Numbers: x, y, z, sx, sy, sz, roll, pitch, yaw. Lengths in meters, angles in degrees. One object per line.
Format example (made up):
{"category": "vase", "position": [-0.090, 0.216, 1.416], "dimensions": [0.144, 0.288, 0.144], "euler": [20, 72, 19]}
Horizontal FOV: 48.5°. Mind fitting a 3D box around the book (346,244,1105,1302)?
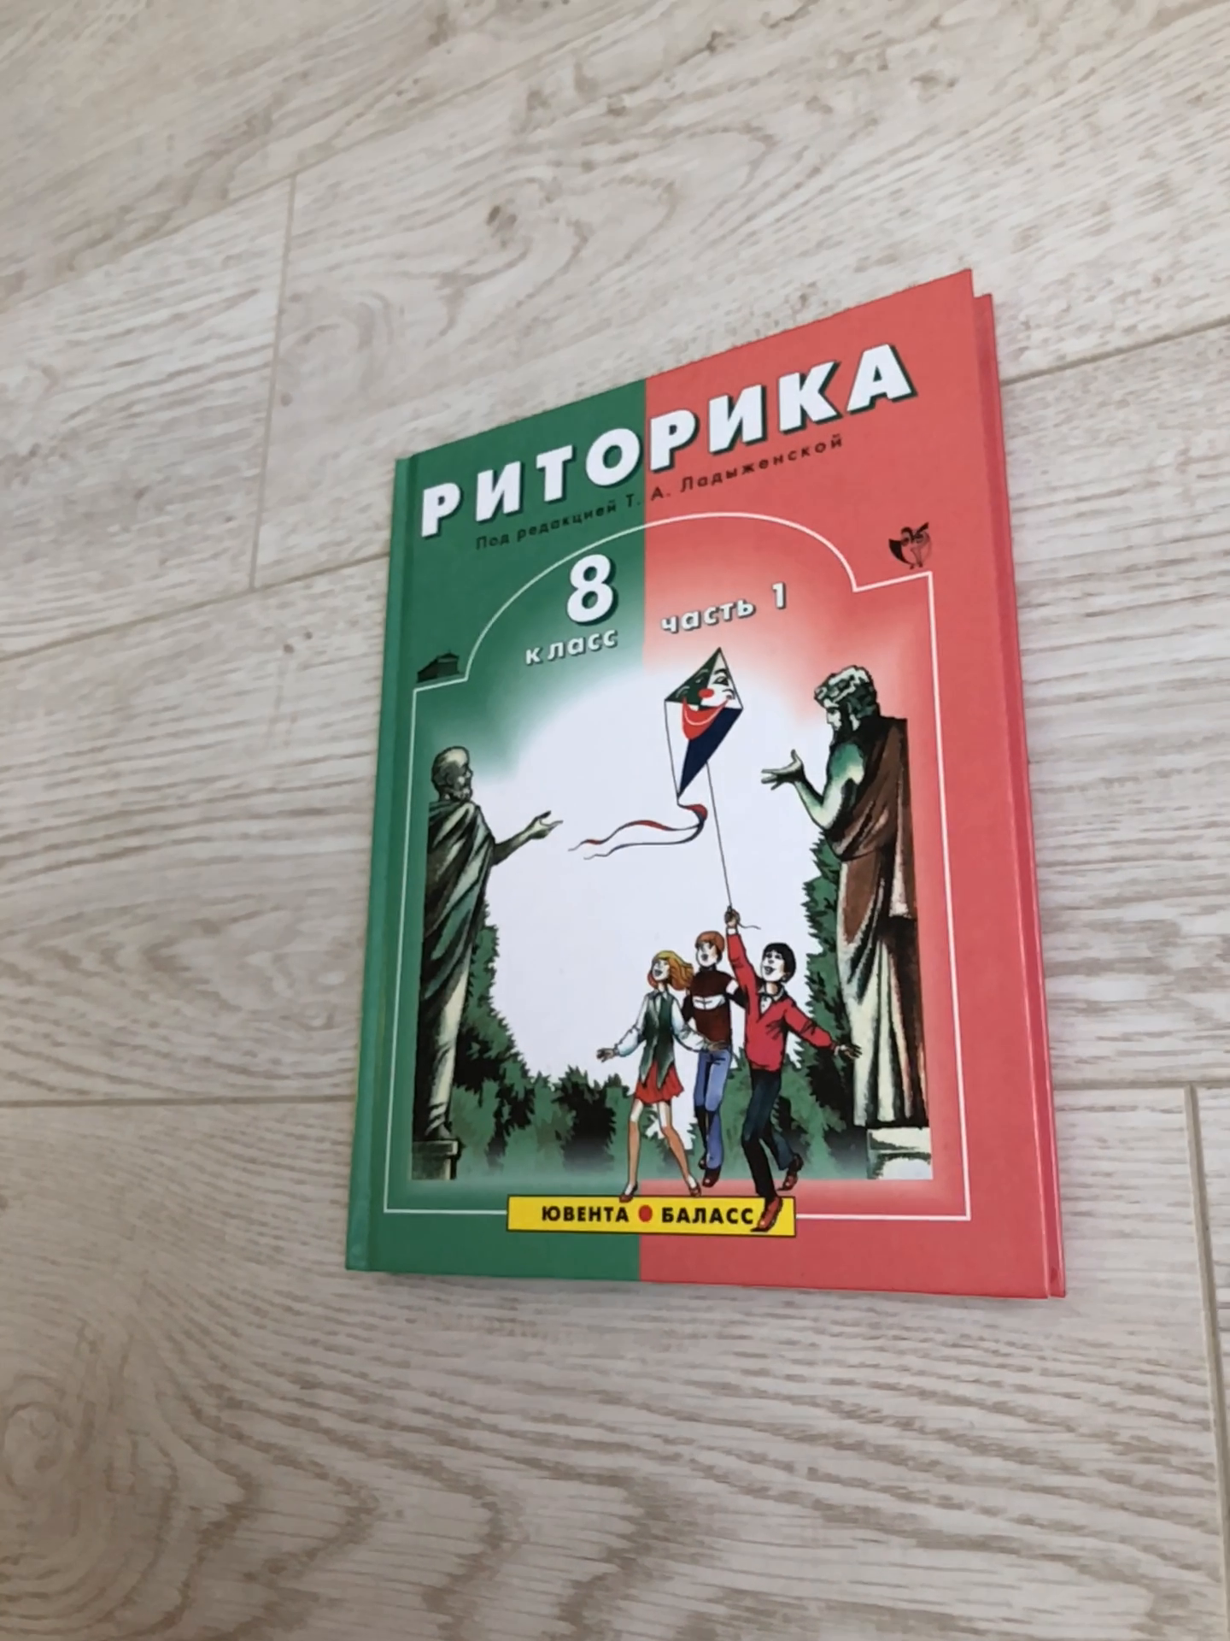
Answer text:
{"category": "book", "position": [0.015, -0.008, 0.323], "dimensions": [0.171, 0.020, 0.223], "euler": [-9, 71, 30]}
